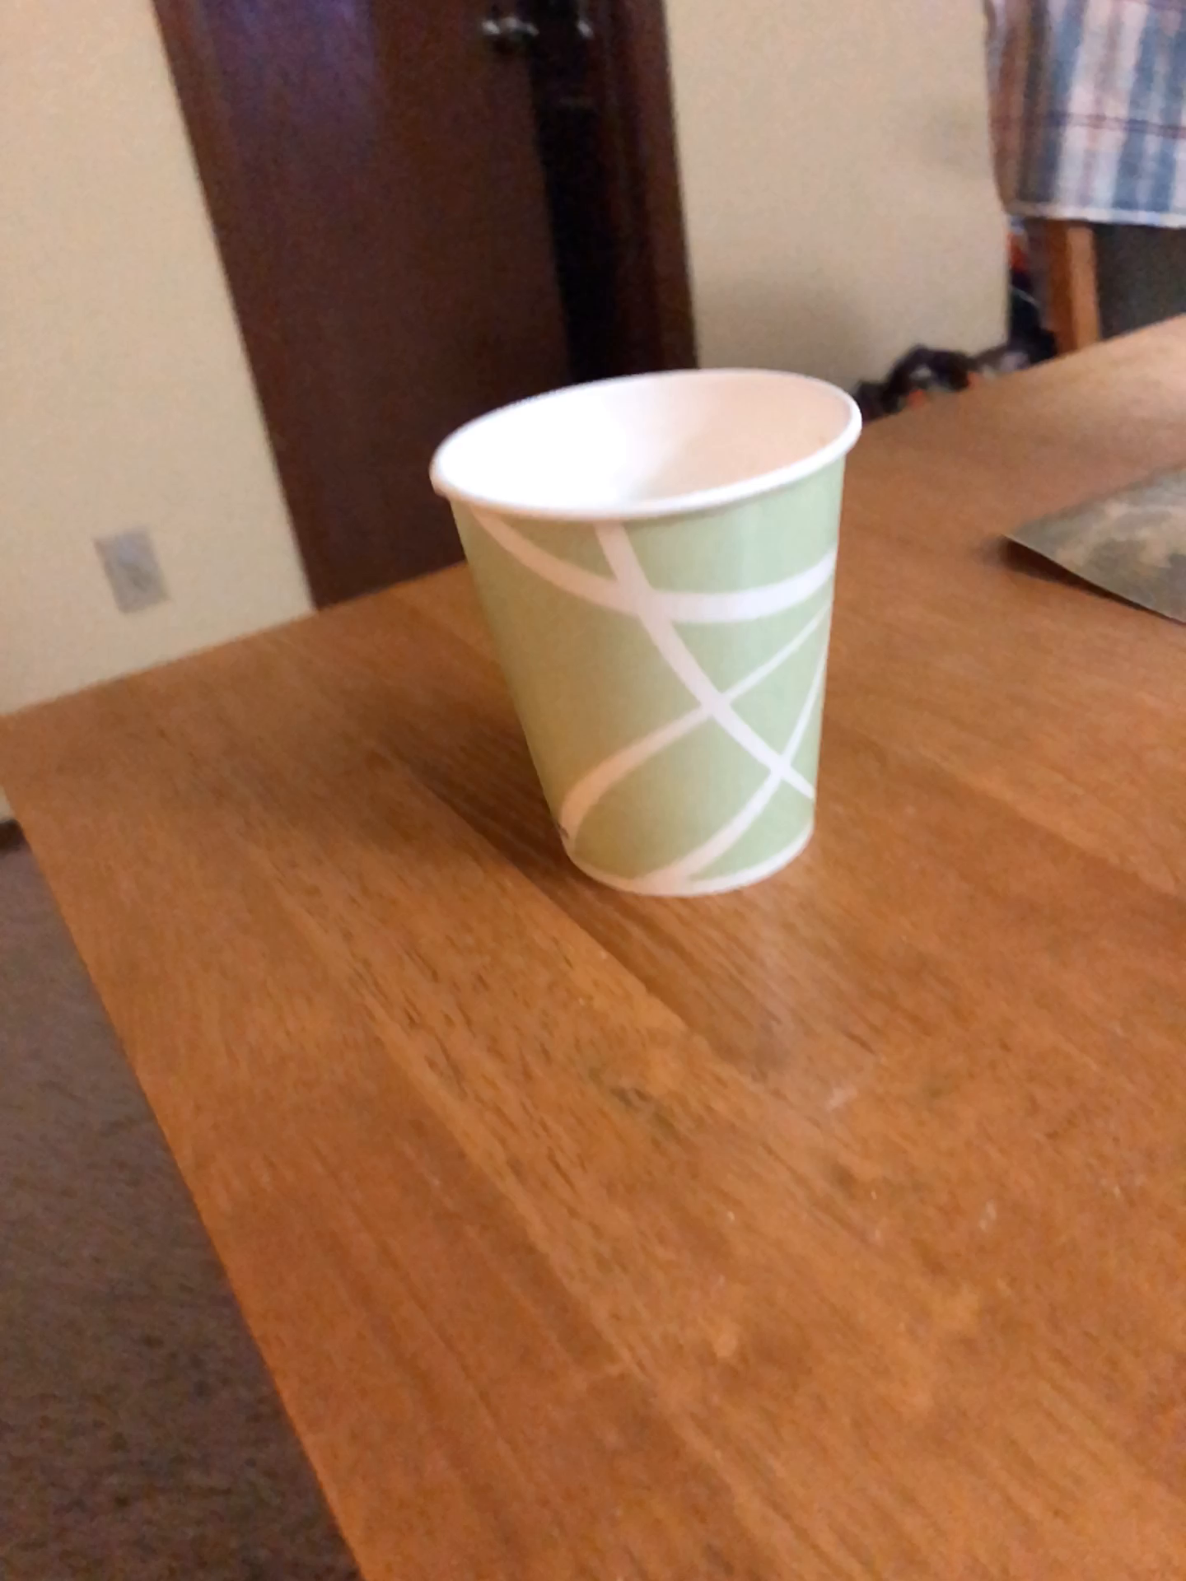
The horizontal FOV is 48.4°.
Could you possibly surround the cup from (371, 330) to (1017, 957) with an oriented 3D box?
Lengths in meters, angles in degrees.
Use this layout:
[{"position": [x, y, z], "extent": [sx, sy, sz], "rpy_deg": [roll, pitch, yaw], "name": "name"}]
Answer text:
[{"position": [0.023, -0.040, 0.295], "extent": [0.100, 0.090, 0.090], "rpy_deg": [-24, 33, -23], "name": "cup"}]
